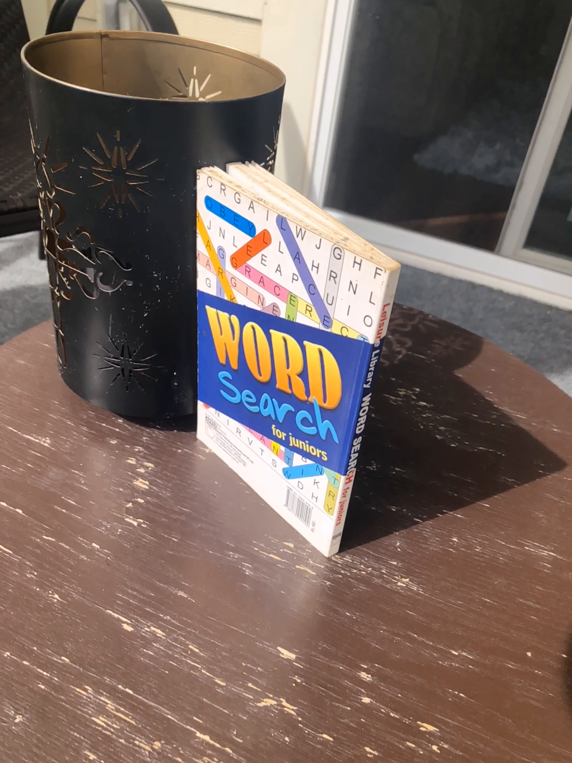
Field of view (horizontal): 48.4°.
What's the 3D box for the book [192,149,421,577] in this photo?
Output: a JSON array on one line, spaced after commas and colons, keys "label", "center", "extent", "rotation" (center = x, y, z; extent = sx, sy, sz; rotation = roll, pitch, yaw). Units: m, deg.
[{"label": "book", "center": [-0.003, -0.007, 0.324], "extent": [0.031, 0.179, 0.125], "rotation": [-20, 44, -28]}]
